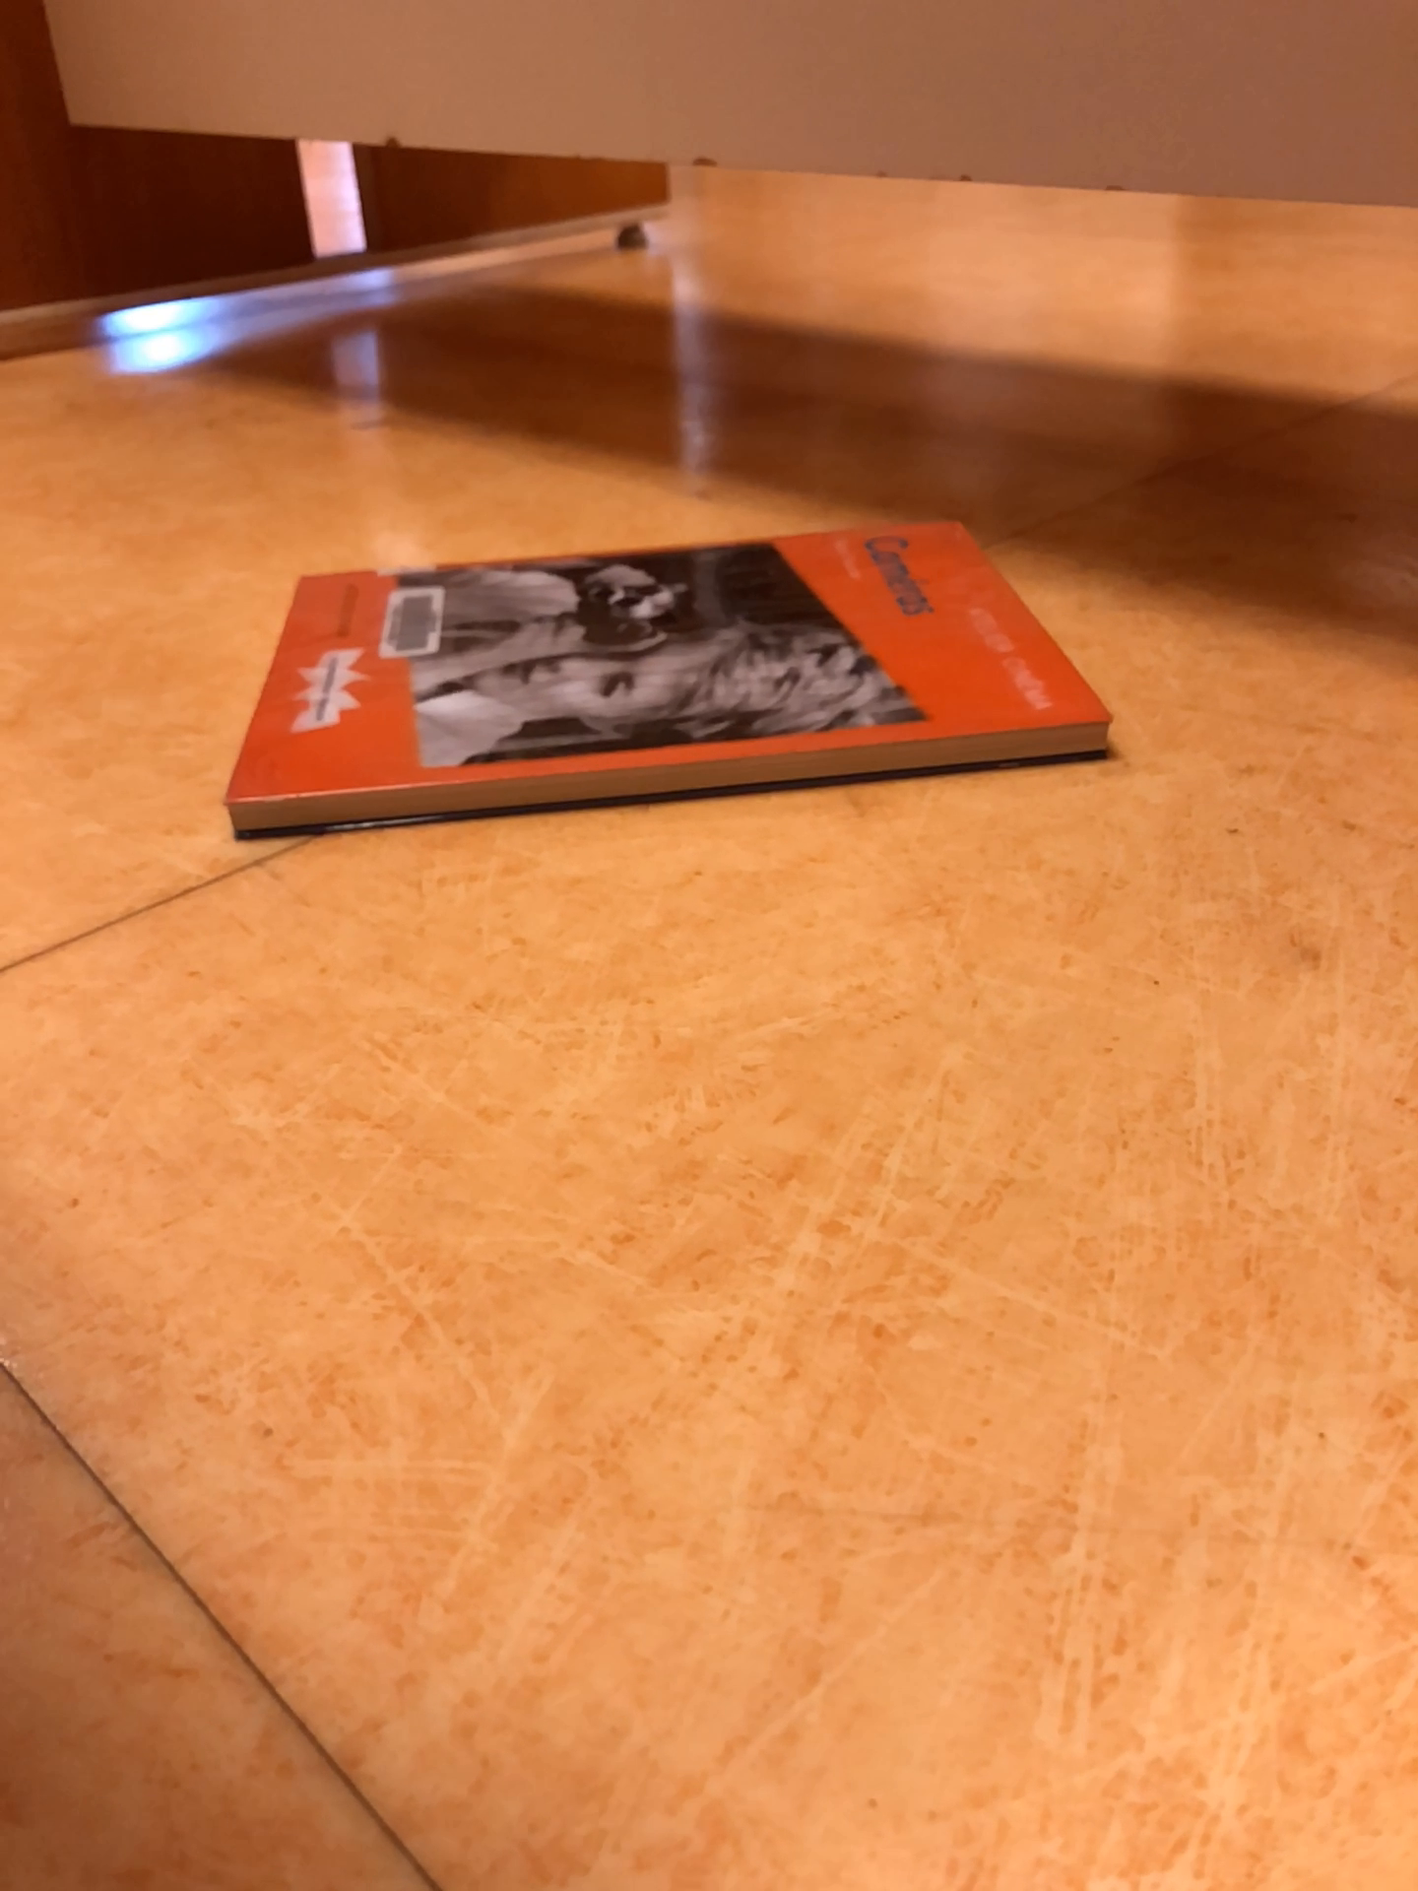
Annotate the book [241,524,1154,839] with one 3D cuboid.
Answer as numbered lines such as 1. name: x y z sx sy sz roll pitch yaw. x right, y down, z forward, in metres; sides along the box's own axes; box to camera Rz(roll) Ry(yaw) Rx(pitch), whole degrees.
1. book: -0.007 -0.078 0.421 0.205 0.011 0.156 -5 31 -3
